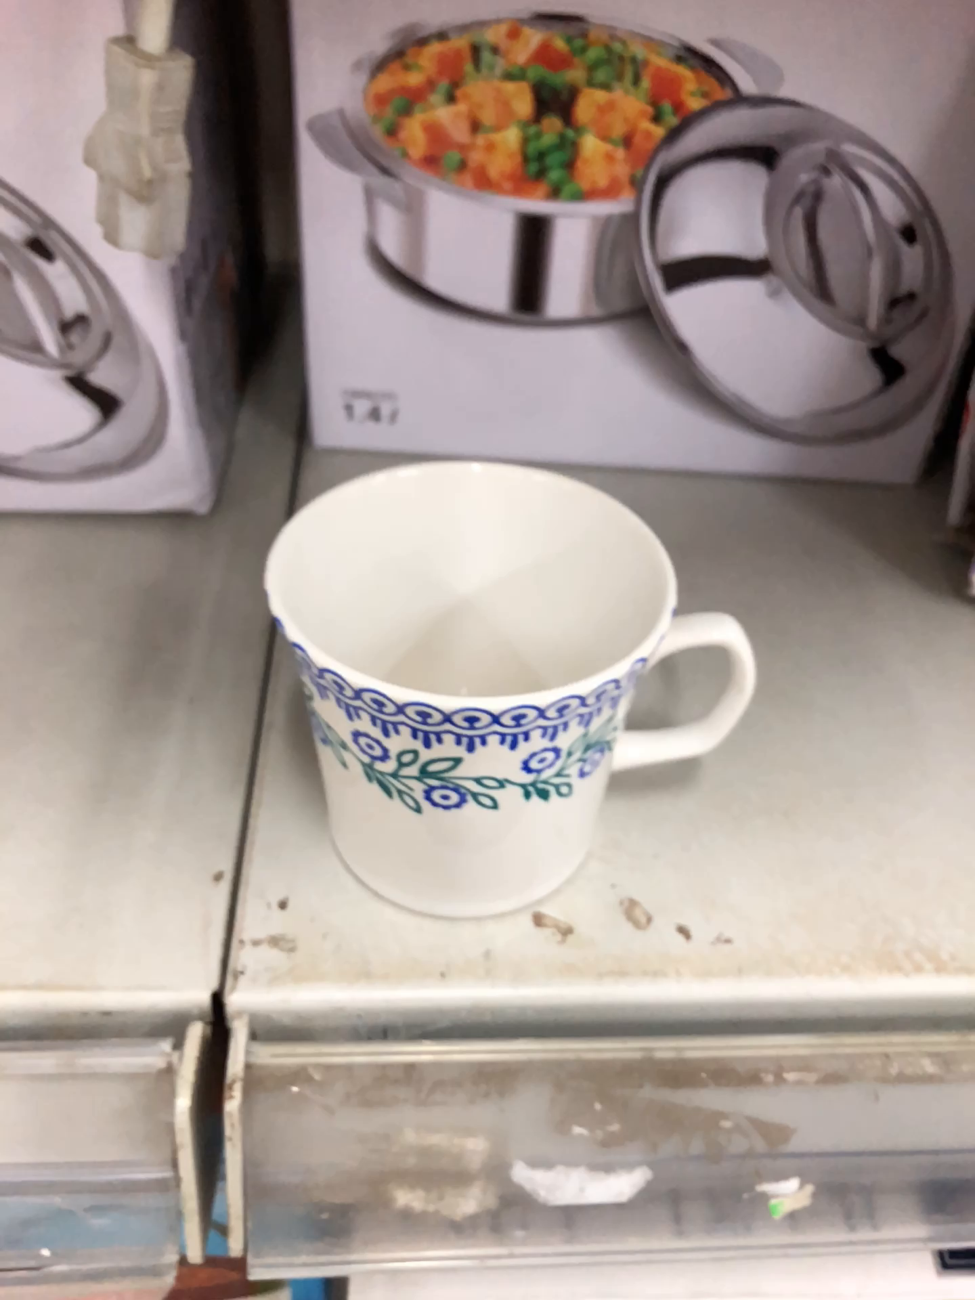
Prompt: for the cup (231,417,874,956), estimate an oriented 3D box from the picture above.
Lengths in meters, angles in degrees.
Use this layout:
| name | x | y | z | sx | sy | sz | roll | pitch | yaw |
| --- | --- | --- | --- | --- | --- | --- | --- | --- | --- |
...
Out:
| name | x | y | z | sx | sy | sz | roll | pitch | yaw |
| --- | --- | --- | --- | --- | --- | --- | --- | --- | --- |
| cup | 0.005 | 0.004 | 0.217 | 0.100 | 0.070 | 0.070 | -4 | 42 | -9 |
